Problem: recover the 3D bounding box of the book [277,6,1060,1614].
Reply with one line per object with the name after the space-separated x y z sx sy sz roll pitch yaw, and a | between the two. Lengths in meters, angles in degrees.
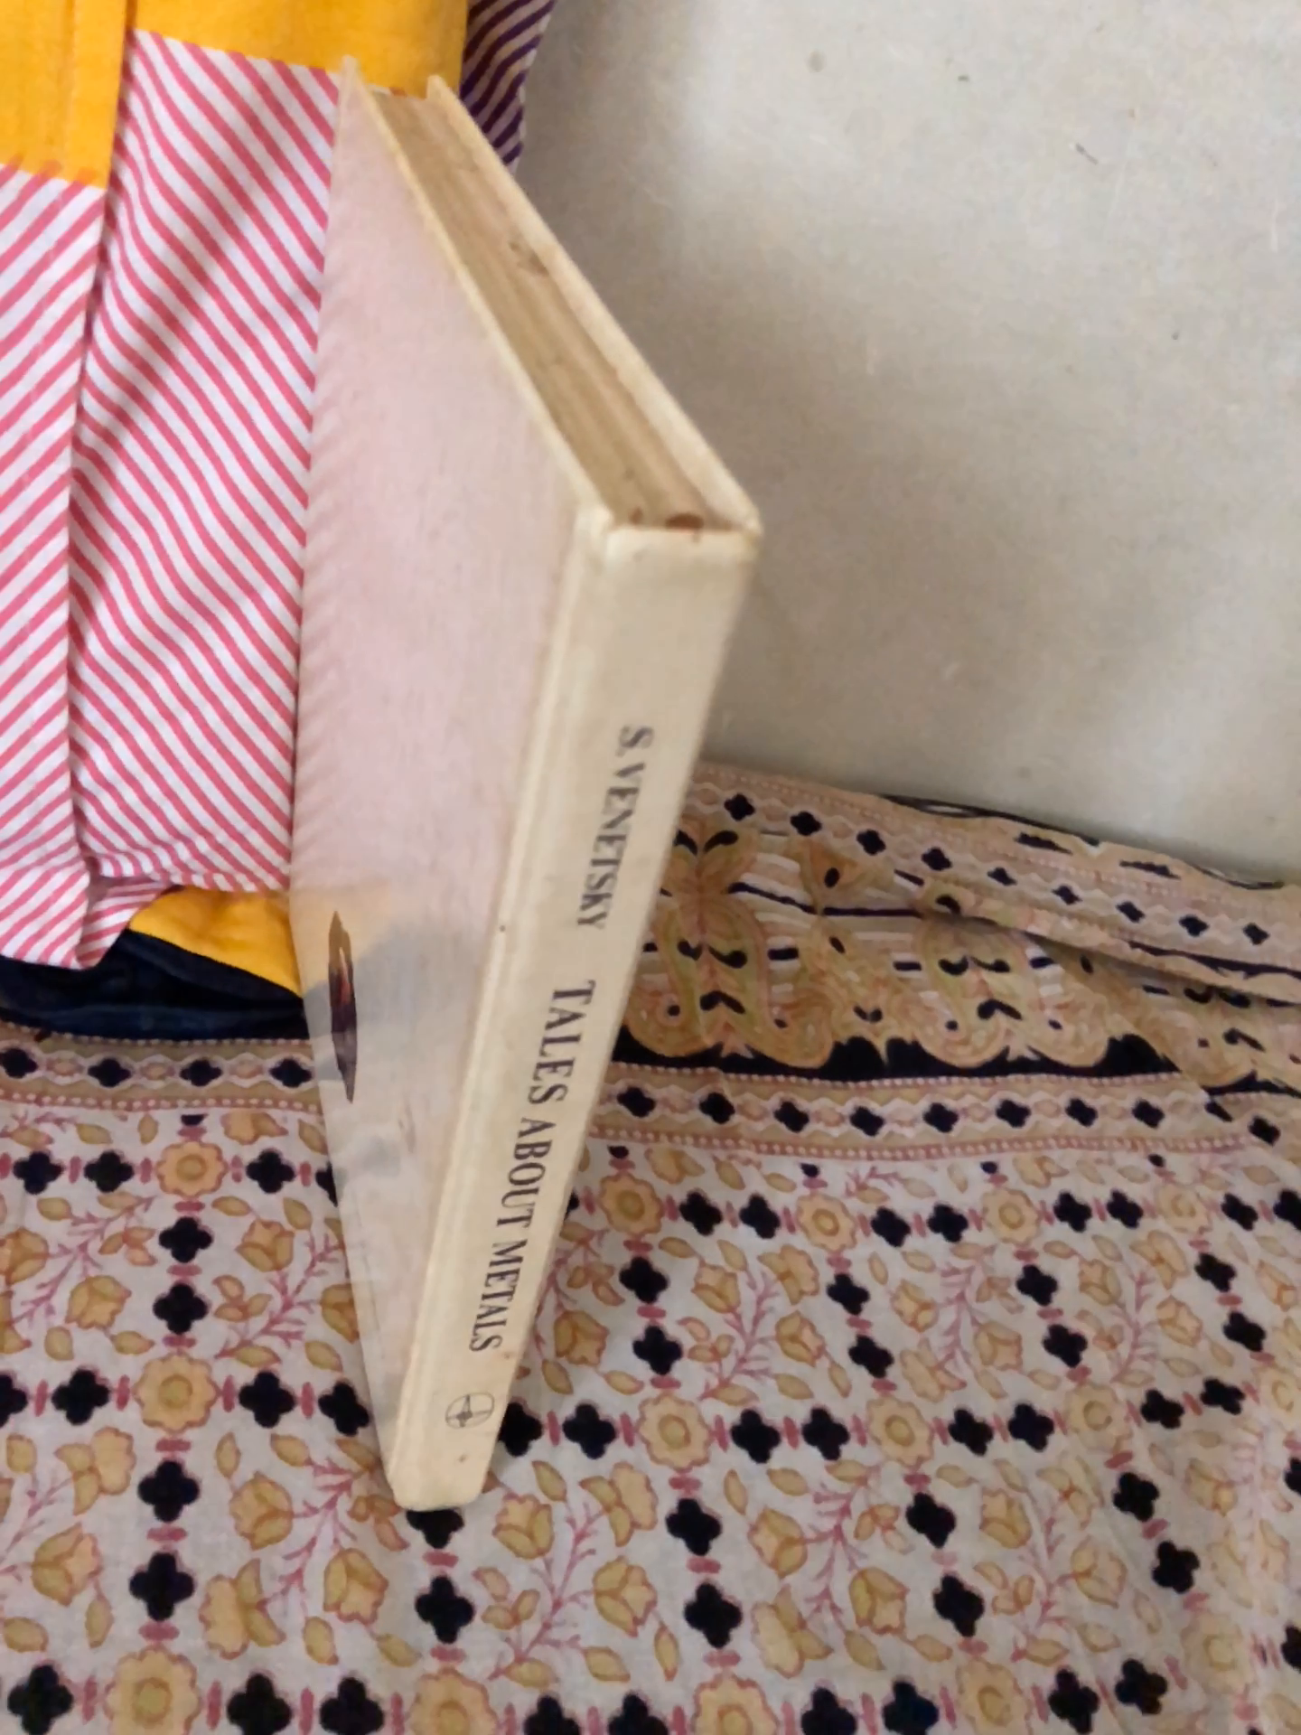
-0.032 -0.011 0.292 0.050 0.249 0.191 -2 38 -21 | book
